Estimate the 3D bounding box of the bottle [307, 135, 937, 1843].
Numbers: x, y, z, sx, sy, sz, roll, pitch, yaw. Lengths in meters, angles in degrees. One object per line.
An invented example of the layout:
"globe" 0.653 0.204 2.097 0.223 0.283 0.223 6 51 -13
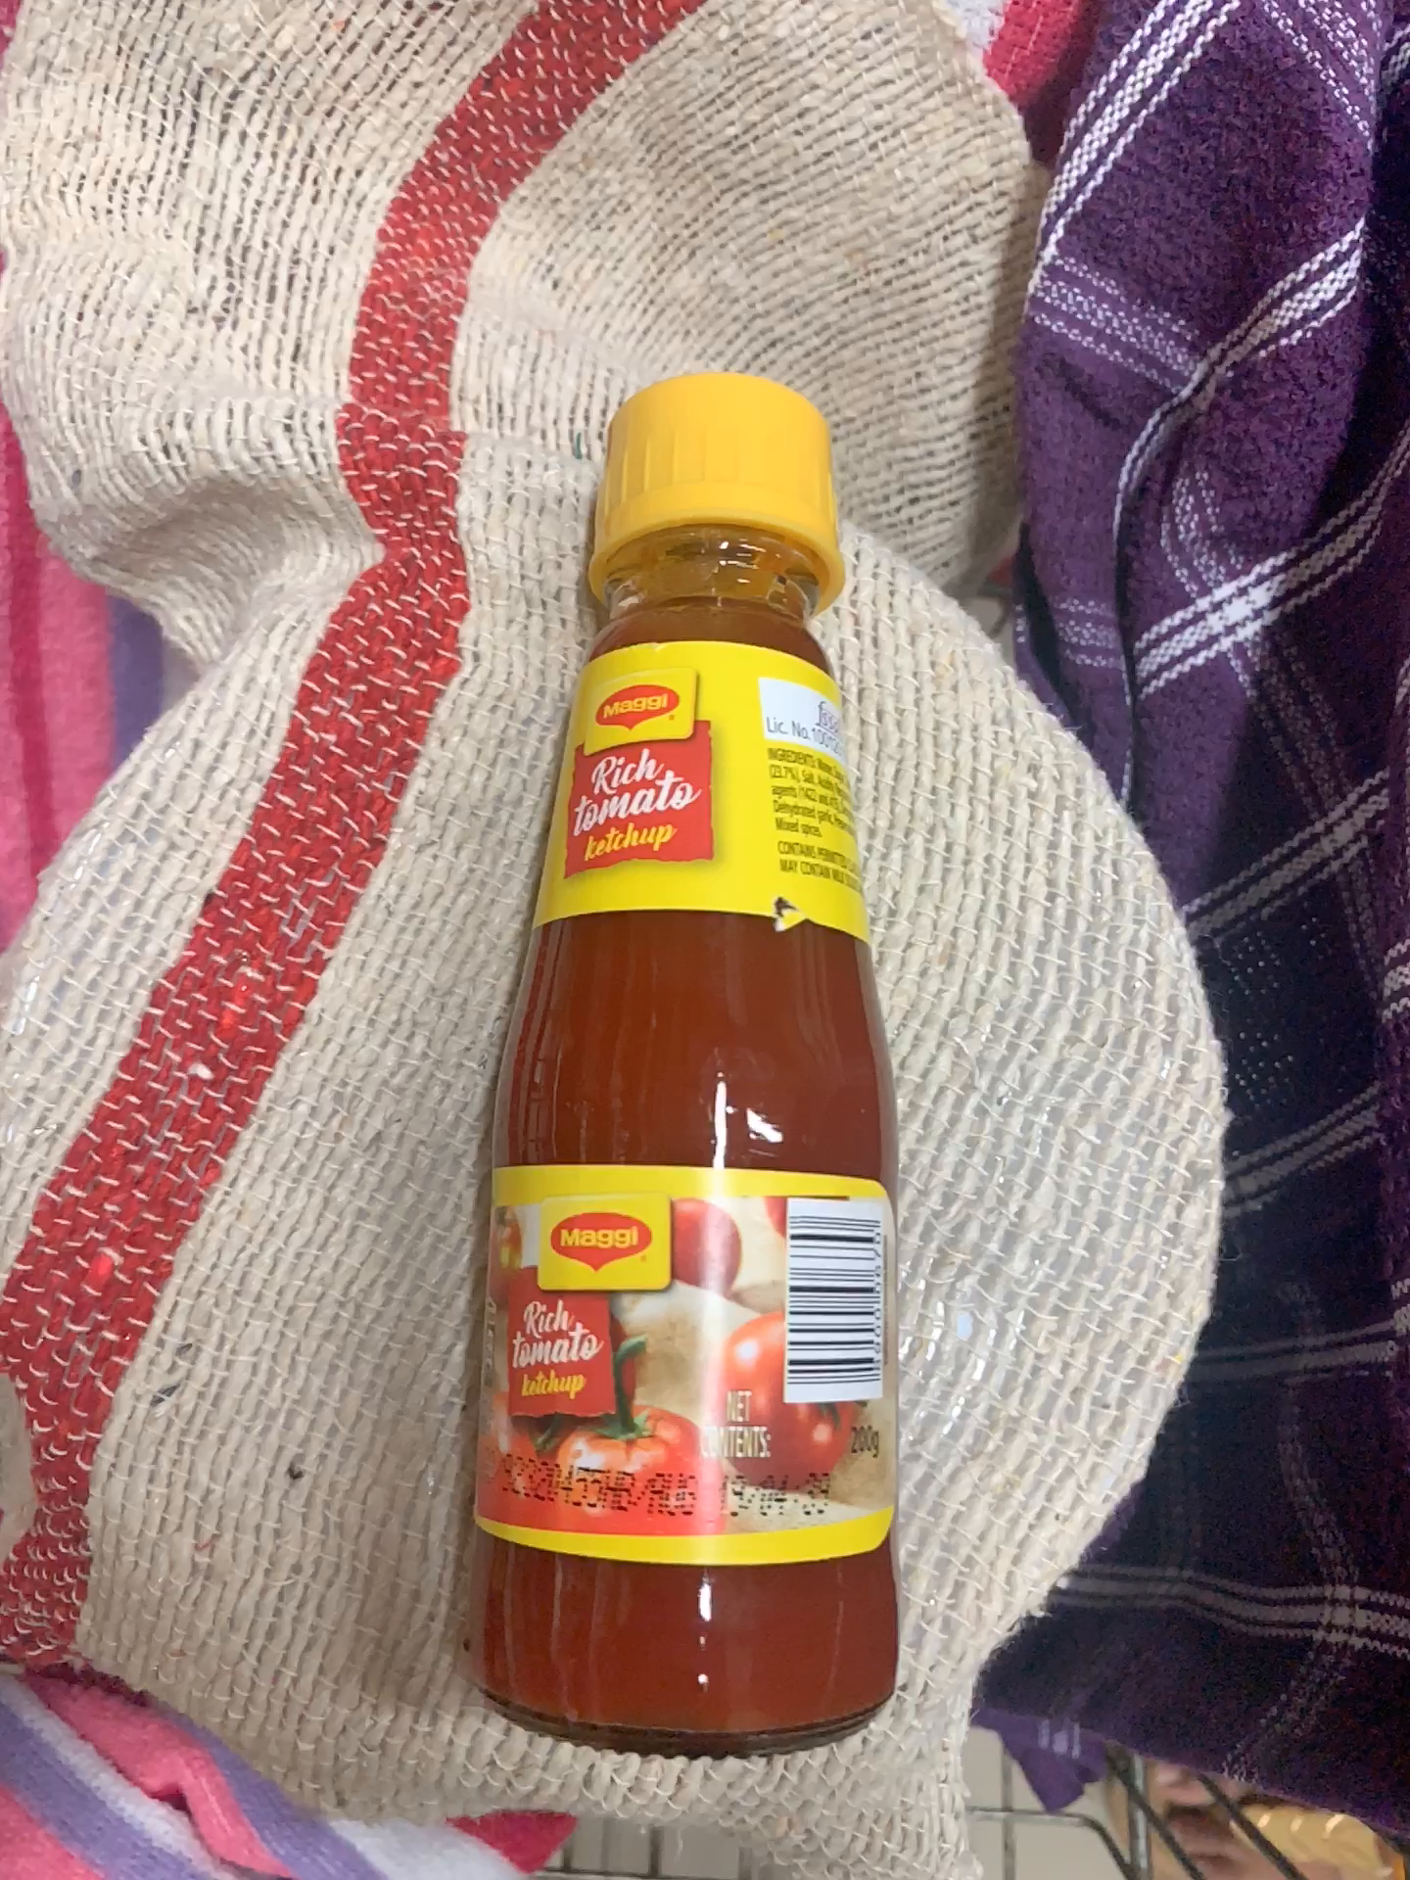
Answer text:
"bottle" -0.005 0.001 0.177 0.050 0.050 0.170 -5 77 27
